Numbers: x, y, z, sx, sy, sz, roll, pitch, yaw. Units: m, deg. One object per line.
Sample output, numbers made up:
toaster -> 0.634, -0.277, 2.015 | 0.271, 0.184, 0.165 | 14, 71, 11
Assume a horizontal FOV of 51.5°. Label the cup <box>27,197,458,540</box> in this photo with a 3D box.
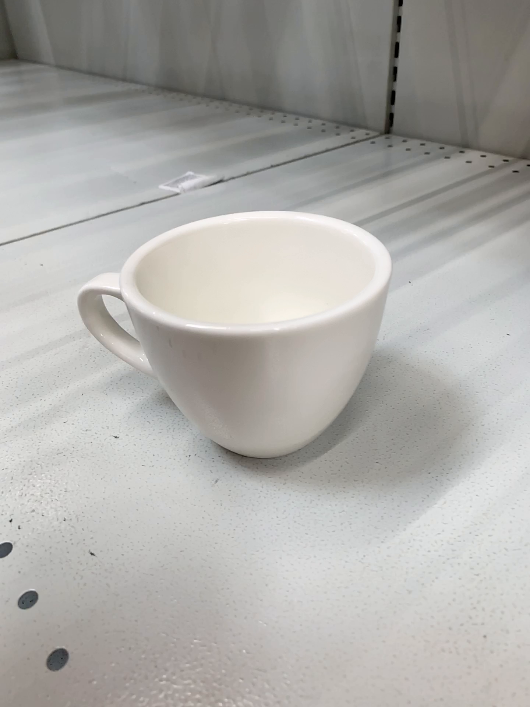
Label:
cup -> -0.001, -0.006, 0.219 | 0.128, 0.072, 0.096 | 12, 37, 21
